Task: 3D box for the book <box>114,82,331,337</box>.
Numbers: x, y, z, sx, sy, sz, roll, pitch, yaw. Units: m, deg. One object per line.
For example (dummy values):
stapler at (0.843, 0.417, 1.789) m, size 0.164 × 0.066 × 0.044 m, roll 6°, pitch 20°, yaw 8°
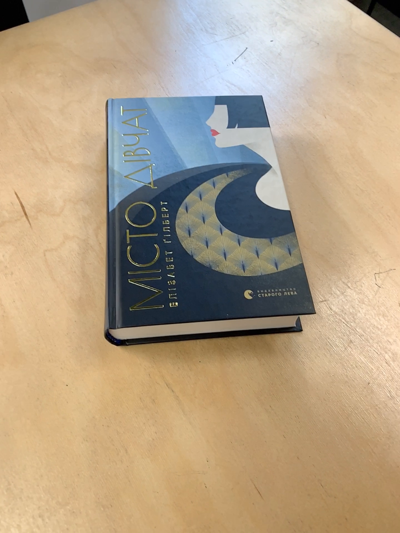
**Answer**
book at (0.006, -0.052, 0.314) m, size 0.134 × 0.043 × 0.197 m, roll -3°, pitch 64°, yaw -4°
